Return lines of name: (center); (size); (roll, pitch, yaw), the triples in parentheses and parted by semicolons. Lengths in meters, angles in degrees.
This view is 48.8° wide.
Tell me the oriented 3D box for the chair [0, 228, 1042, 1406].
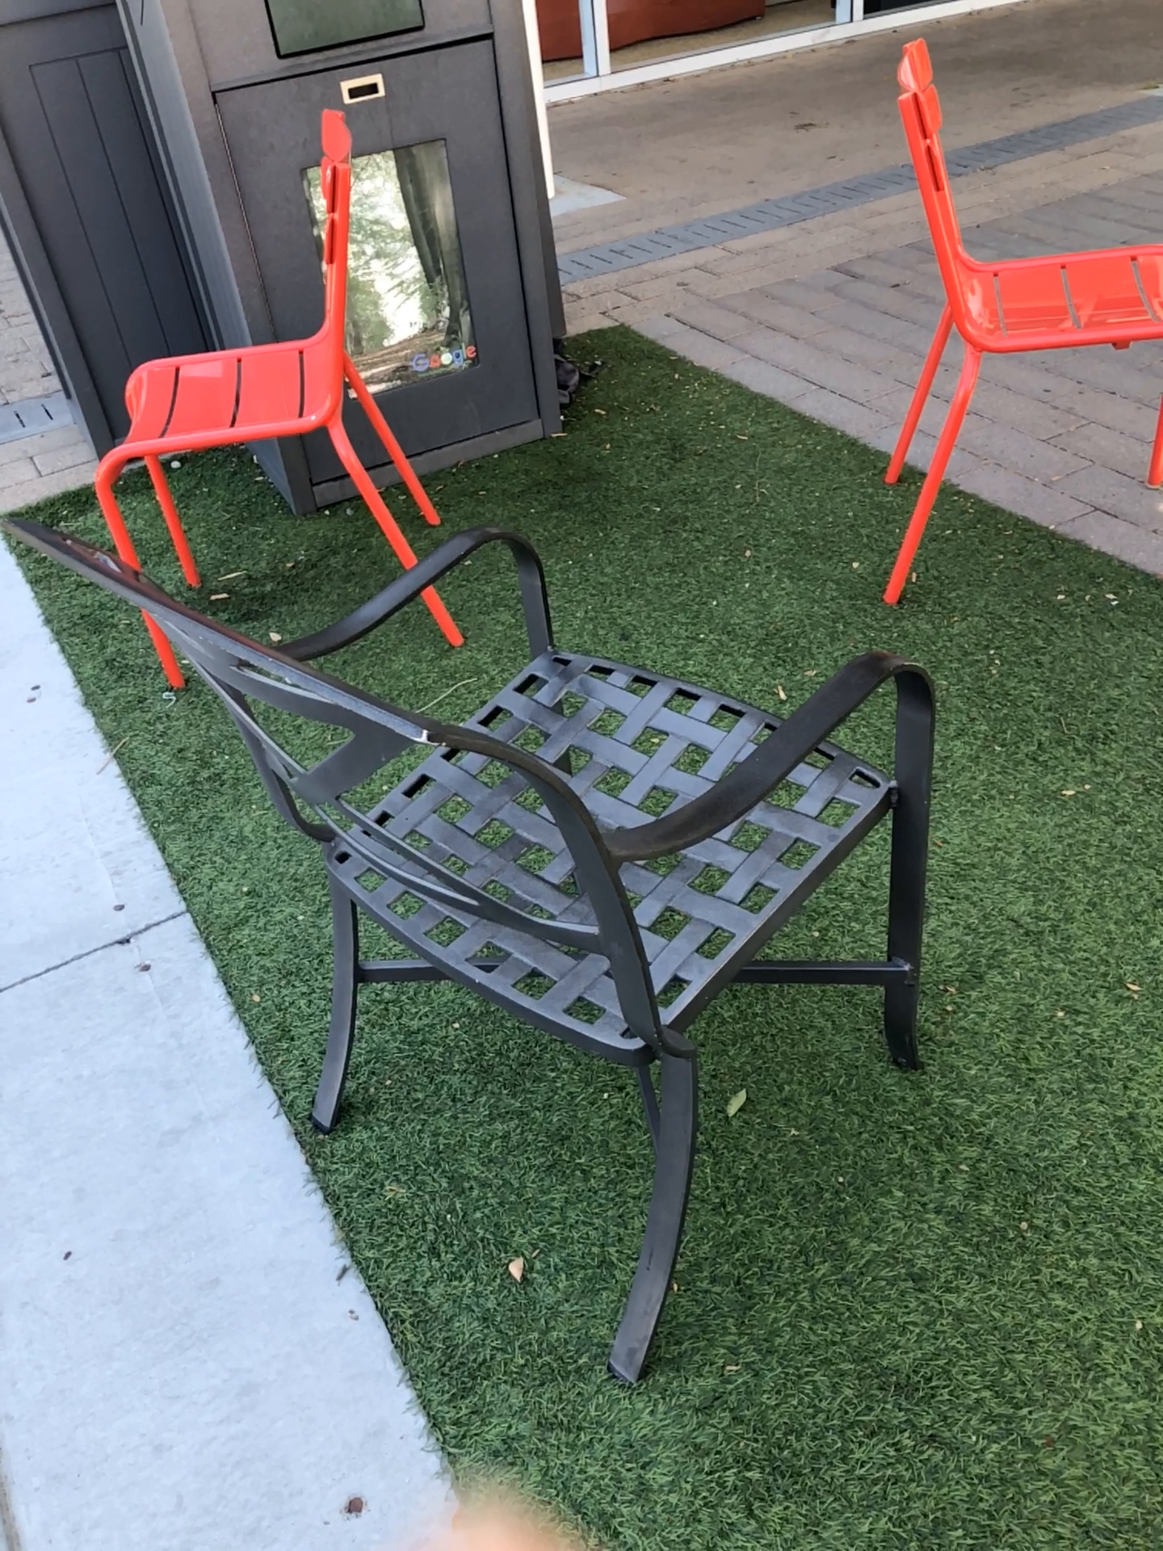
chair: (-0.023, -0.006, 1.302); (0.642, 0.806, 0.641); (25, 50, 36)
